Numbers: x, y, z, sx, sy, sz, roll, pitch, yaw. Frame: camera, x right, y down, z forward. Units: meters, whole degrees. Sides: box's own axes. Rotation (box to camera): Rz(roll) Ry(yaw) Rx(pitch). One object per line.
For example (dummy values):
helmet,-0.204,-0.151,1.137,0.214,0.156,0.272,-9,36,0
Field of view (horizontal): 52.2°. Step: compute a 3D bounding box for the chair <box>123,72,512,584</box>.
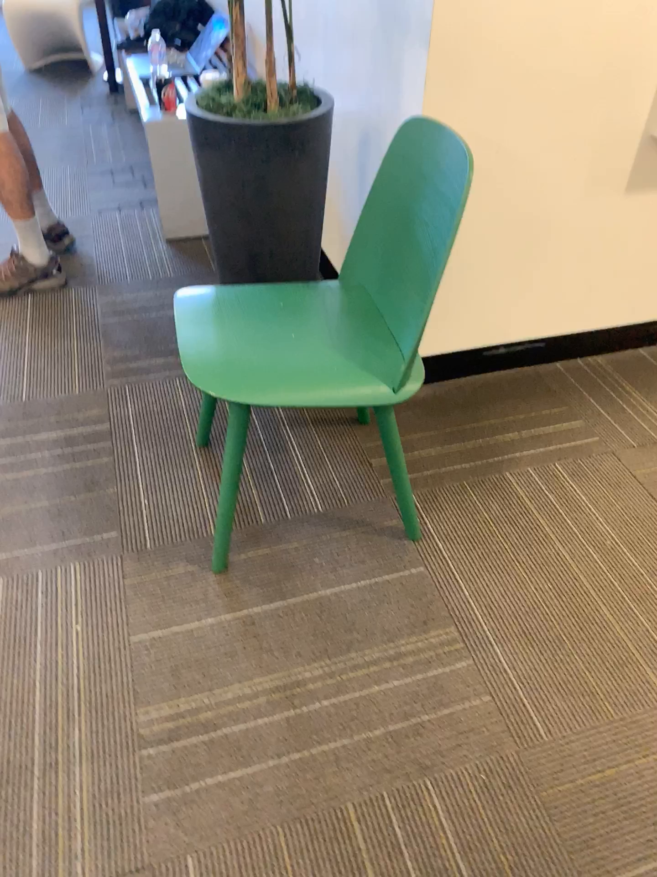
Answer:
chair,-0.066,-0.209,1.306,0.500,0.785,0.503,-9,42,-13
